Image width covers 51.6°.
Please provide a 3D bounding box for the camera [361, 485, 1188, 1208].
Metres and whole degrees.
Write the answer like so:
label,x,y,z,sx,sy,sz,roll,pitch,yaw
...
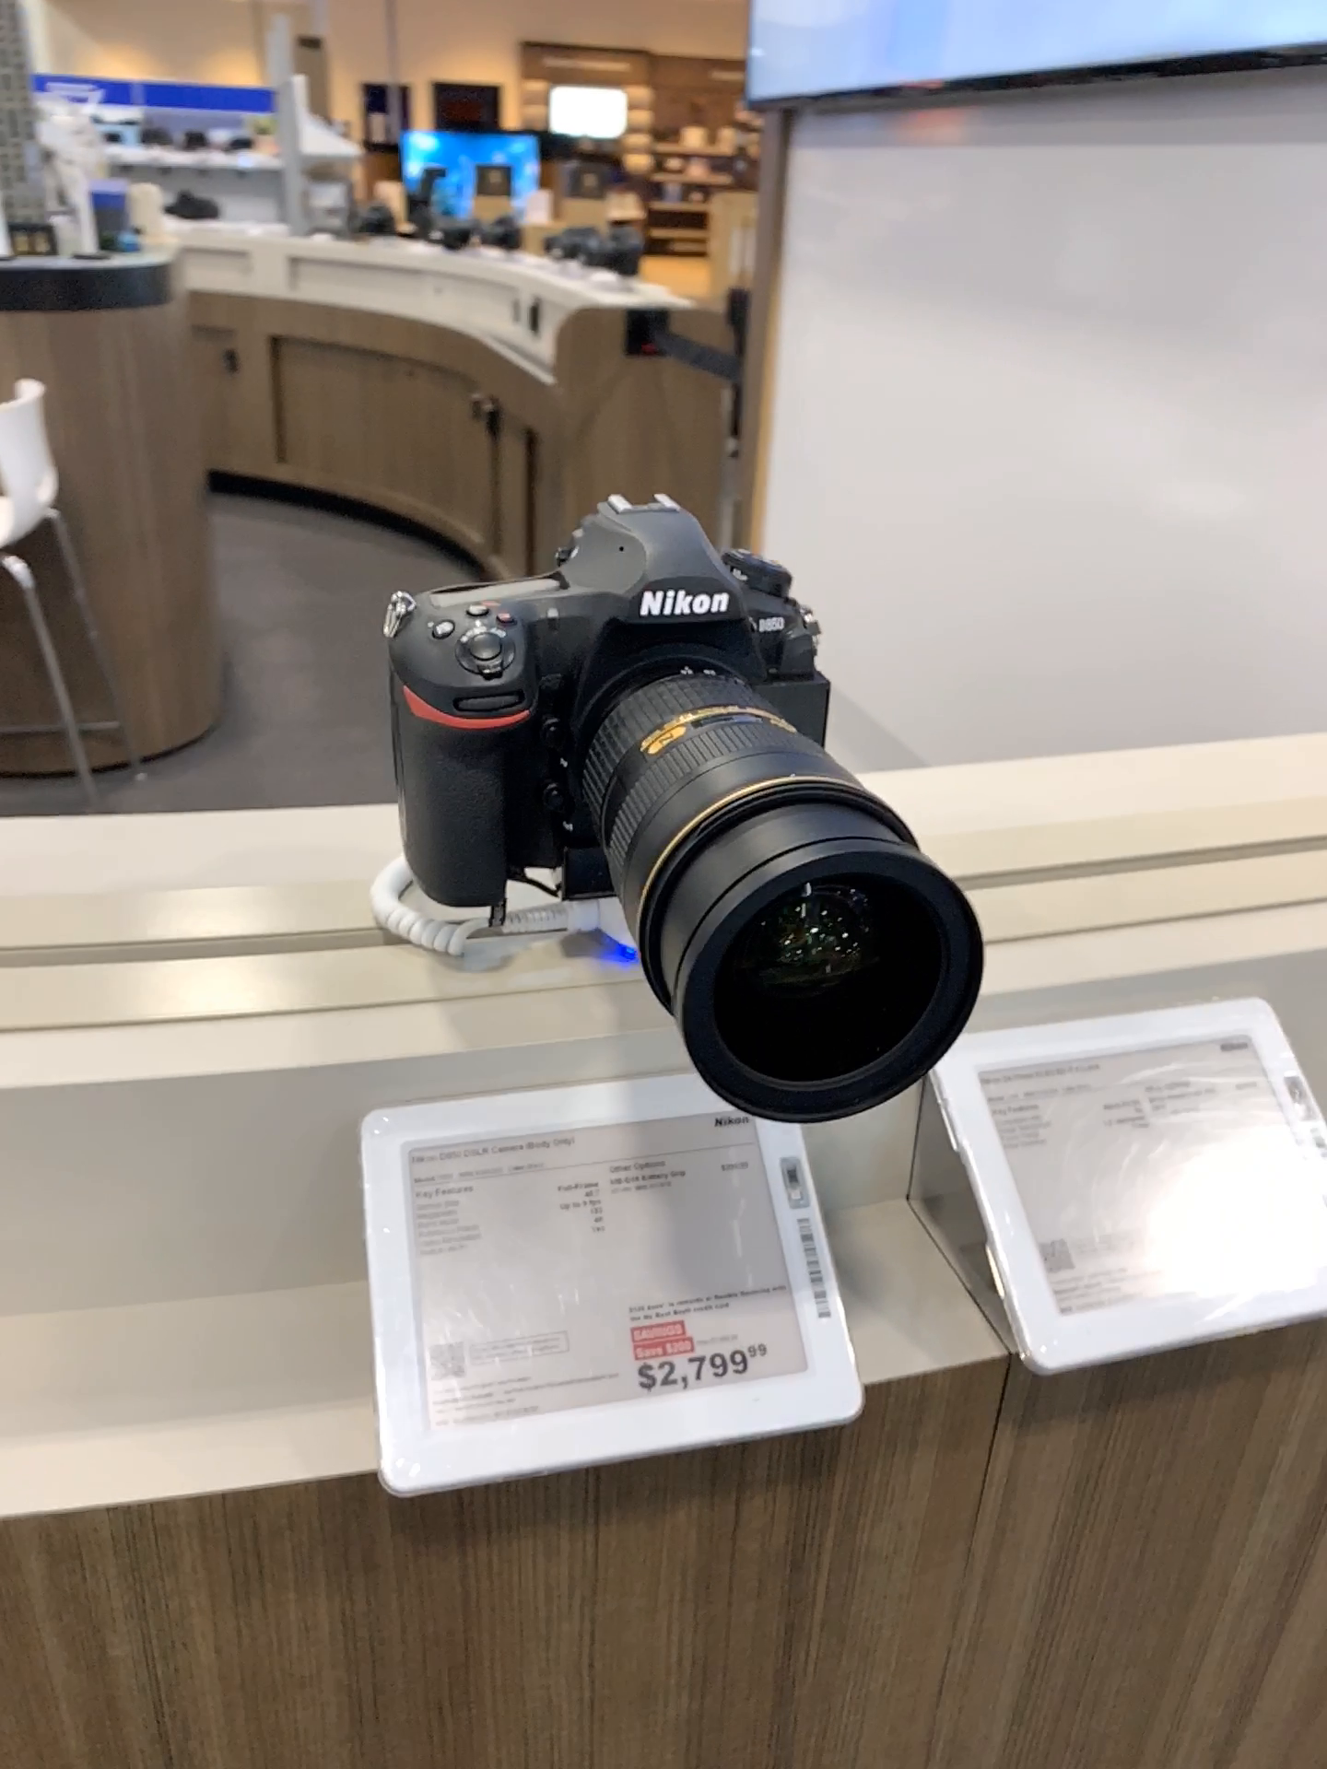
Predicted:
label,x,y,z,sx,sy,sz,roll,pitch,yaw
camera,0.004,-0.037,0.410,0.160,0.109,0.241,-5,28,-15
